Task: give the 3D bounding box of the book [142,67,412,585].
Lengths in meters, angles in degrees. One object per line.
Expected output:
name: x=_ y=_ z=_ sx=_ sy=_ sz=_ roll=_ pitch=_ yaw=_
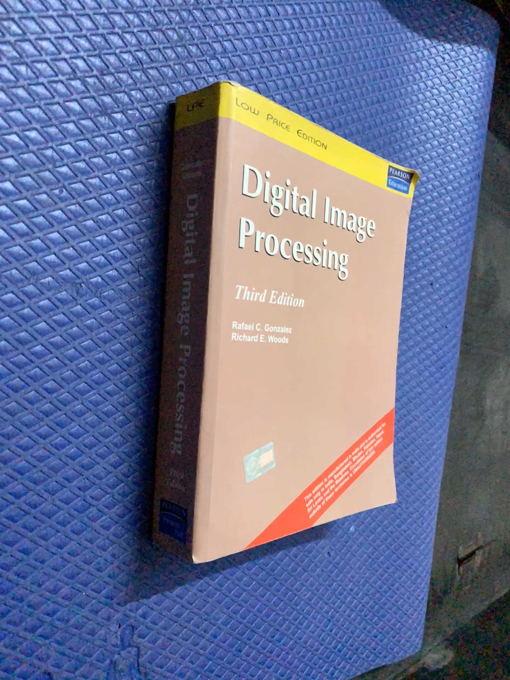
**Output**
book: x=0.026 y=-0.004 z=0.308 sx=0.175 sy=0.045 sz=0.225 roll=4 pitch=88 yaw=-47
